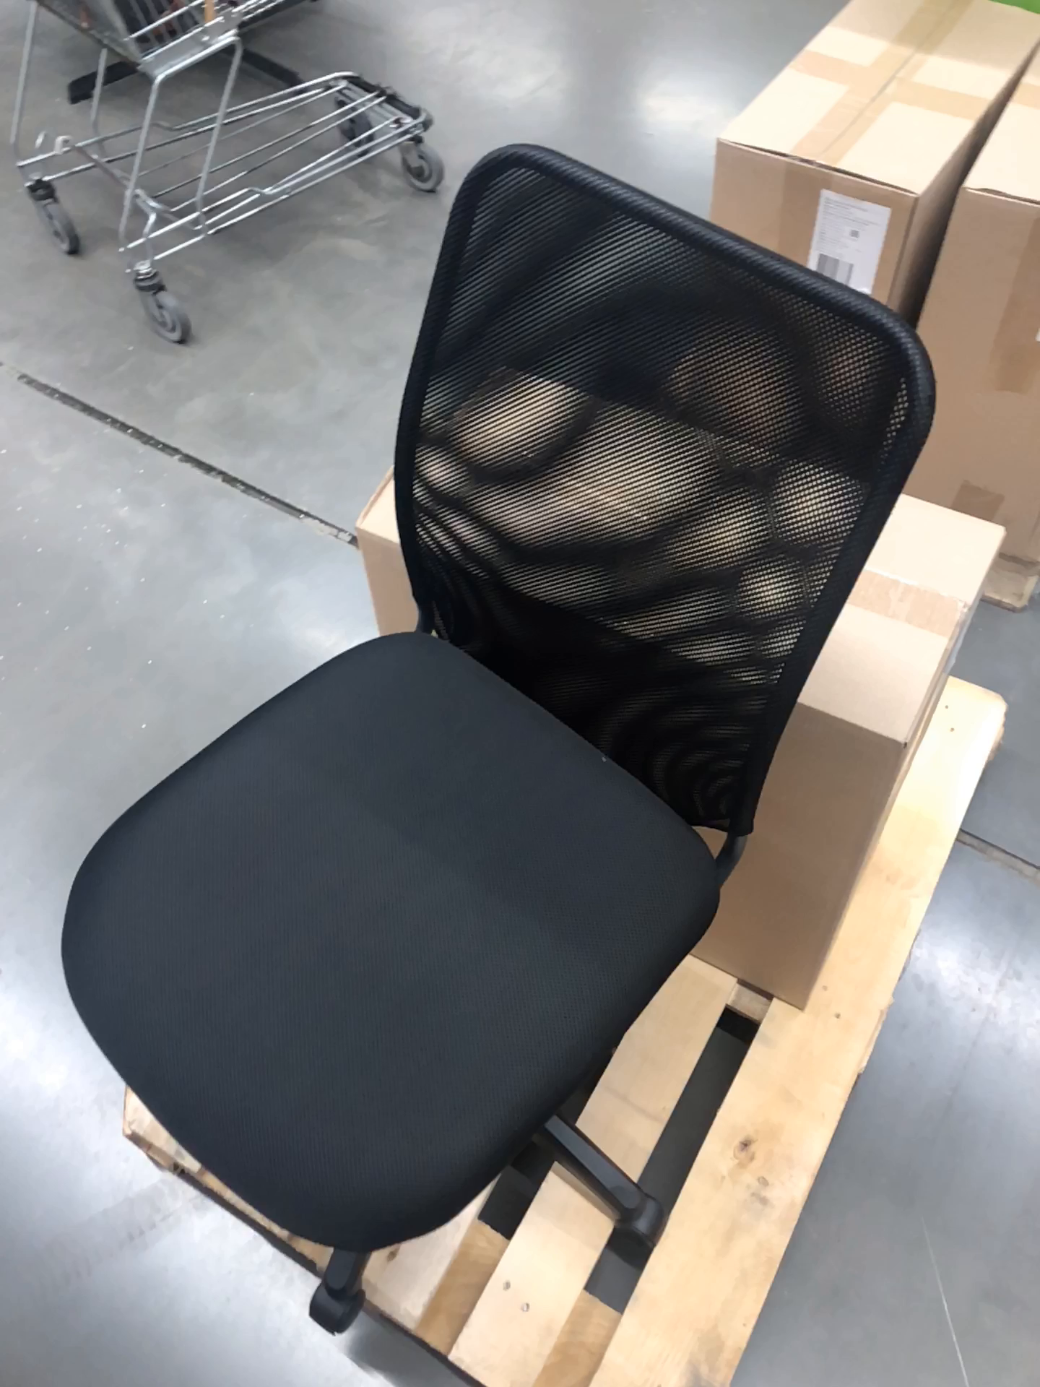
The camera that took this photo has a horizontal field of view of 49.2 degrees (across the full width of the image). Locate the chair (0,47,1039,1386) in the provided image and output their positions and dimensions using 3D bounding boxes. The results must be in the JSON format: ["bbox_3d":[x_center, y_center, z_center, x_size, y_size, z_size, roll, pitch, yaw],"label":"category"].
[{"bbox_3d":[-0.114,0.164,0.996,0.602,1.034,0.572,35,62,26],"label":"chair"}]
